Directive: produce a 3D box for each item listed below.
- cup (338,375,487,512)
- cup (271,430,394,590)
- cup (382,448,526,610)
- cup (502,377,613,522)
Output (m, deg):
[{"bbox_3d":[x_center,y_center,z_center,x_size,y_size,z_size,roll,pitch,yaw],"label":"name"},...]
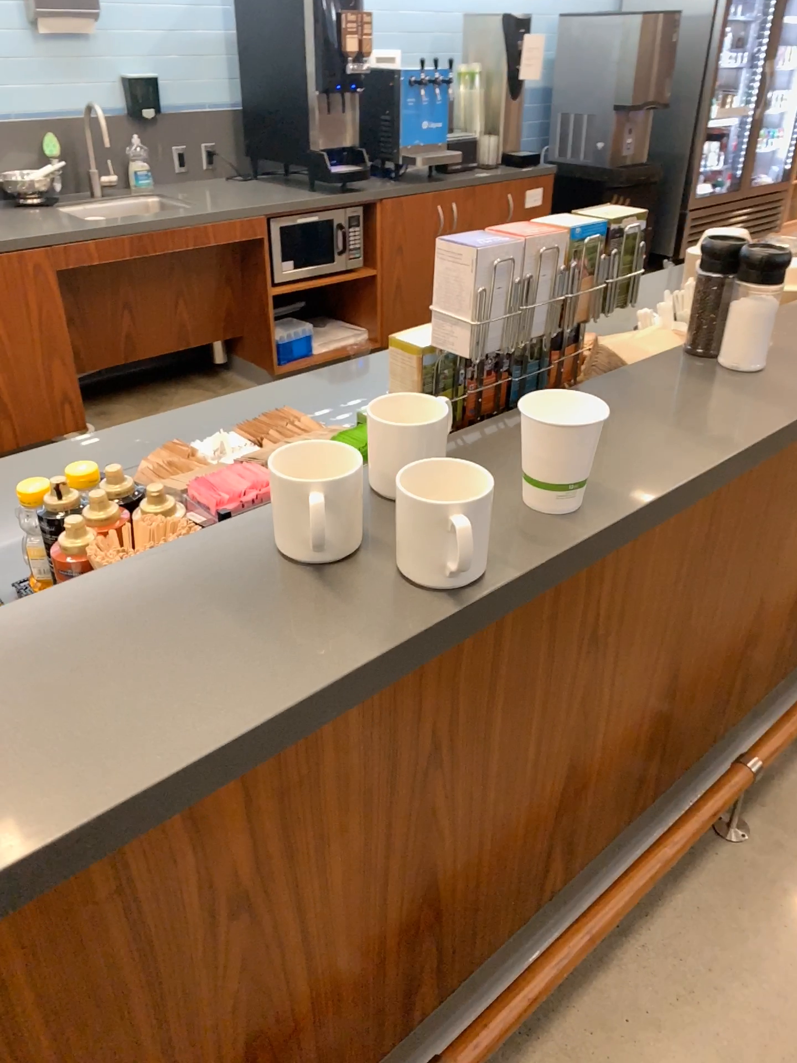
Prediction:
[{"bbox_3d":[0.014,-0.094,0.849,0.120,0.089,0.090,-18,36,-28],"label":"cup"},{"bbox_3d":[-0.058,-0.022,0.695,0.090,0.080,0.121,-5,32,-8],"label":"cup"},{"bbox_3d":[0.043,-0.006,0.705,0.090,0.080,0.121,-7,32,-11],"label":"cup"},{"bbox_3d":[0.157,-0.083,0.803,0.090,0.099,0.101,7,32,11],"label":"cup"}]
